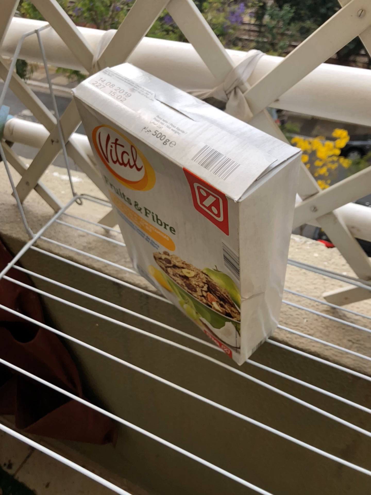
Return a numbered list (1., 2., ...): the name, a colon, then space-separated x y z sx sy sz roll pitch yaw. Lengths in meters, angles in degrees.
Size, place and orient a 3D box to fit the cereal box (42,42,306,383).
1. cereal box: -0.007 -0.019 0.396 0.070 0.268 0.211 -37 55 -20
